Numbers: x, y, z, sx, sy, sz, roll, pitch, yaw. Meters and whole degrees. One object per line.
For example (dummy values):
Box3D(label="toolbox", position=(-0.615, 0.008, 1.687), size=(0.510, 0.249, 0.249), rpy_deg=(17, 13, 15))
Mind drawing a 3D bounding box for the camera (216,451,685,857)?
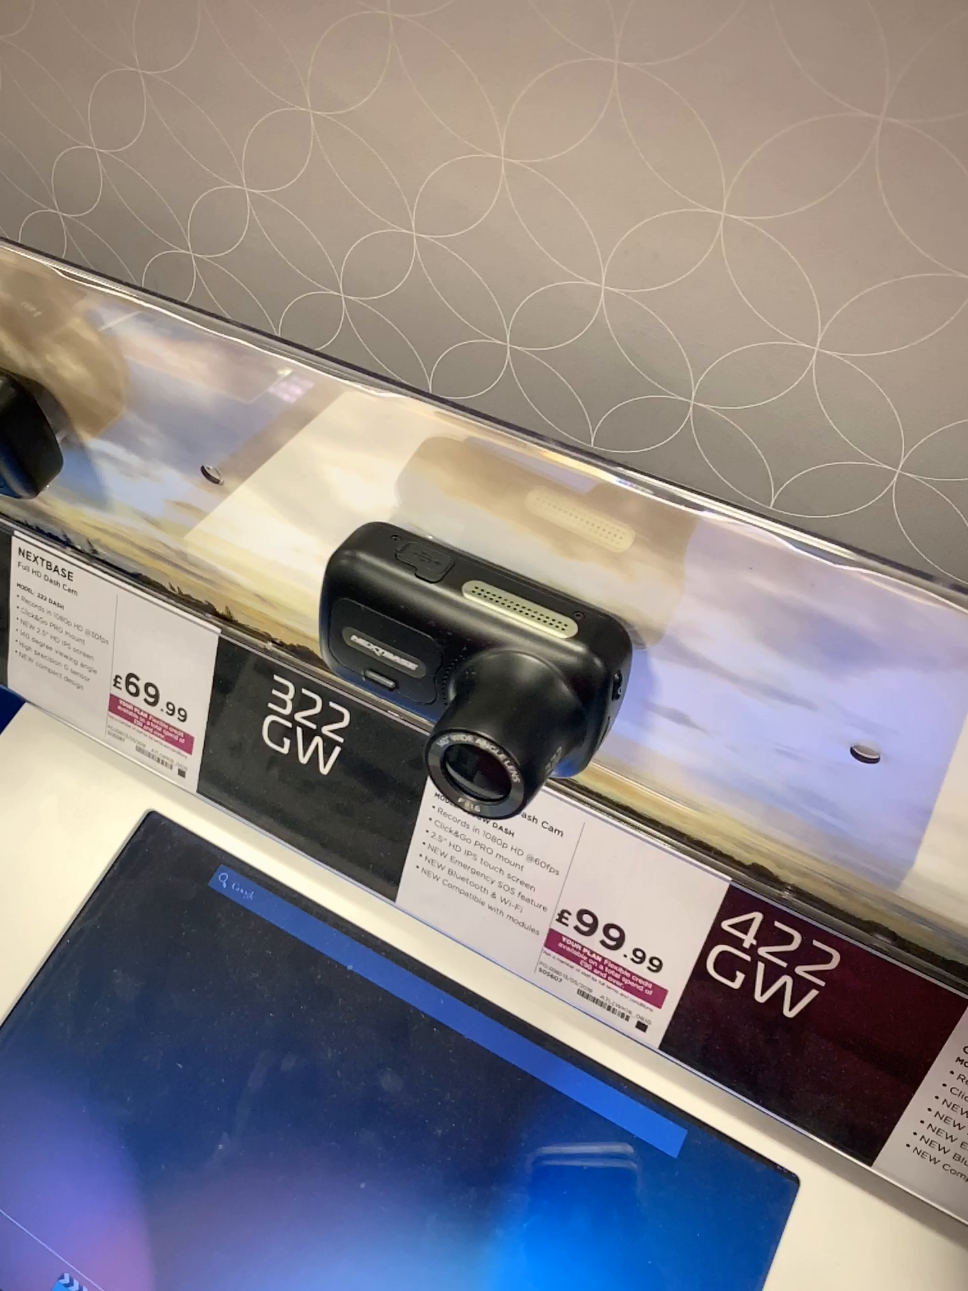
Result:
Box3D(label="camera", position=(-0.008, -0.004, 0.253), size=(0.090, 0.040, 0.070), rpy_deg=(26, 42, 20))
